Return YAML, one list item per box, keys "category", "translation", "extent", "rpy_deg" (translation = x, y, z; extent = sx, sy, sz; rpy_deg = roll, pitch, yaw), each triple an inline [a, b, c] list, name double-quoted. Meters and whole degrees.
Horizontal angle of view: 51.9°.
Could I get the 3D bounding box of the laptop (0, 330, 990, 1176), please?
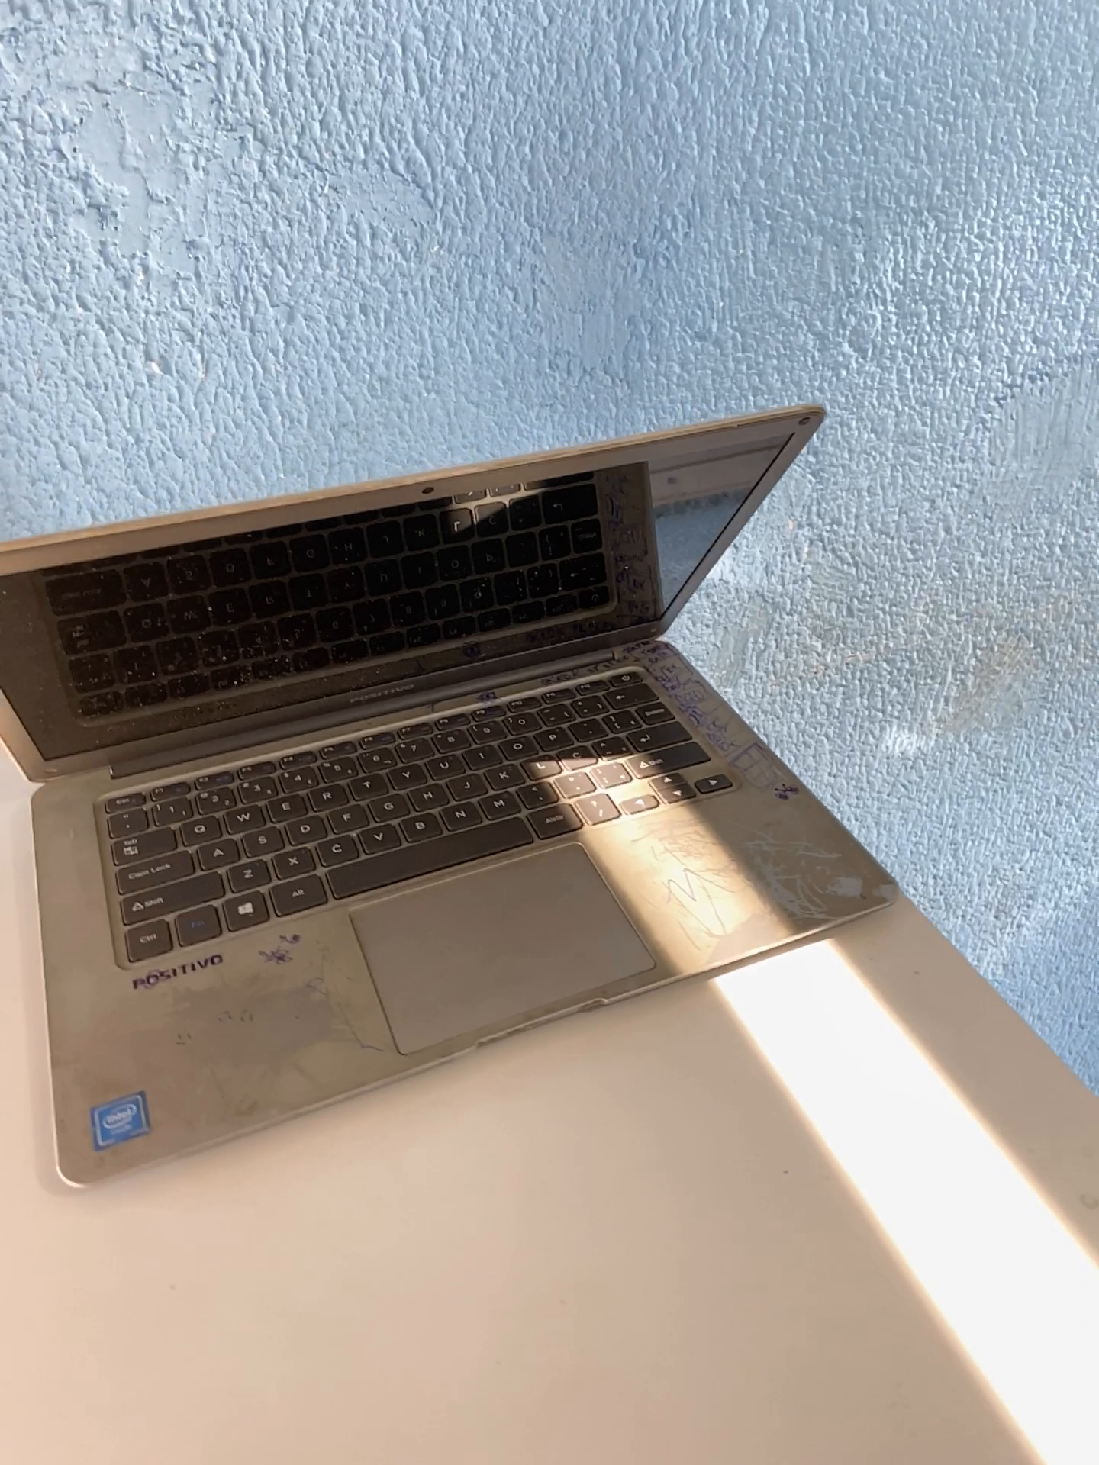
- category: "laptop"
  translation: [-0.047, -0.022, 0.444]
  extent: [0.327, 0.167, 0.212]
  rpy_deg: [-14, 38, -18]
